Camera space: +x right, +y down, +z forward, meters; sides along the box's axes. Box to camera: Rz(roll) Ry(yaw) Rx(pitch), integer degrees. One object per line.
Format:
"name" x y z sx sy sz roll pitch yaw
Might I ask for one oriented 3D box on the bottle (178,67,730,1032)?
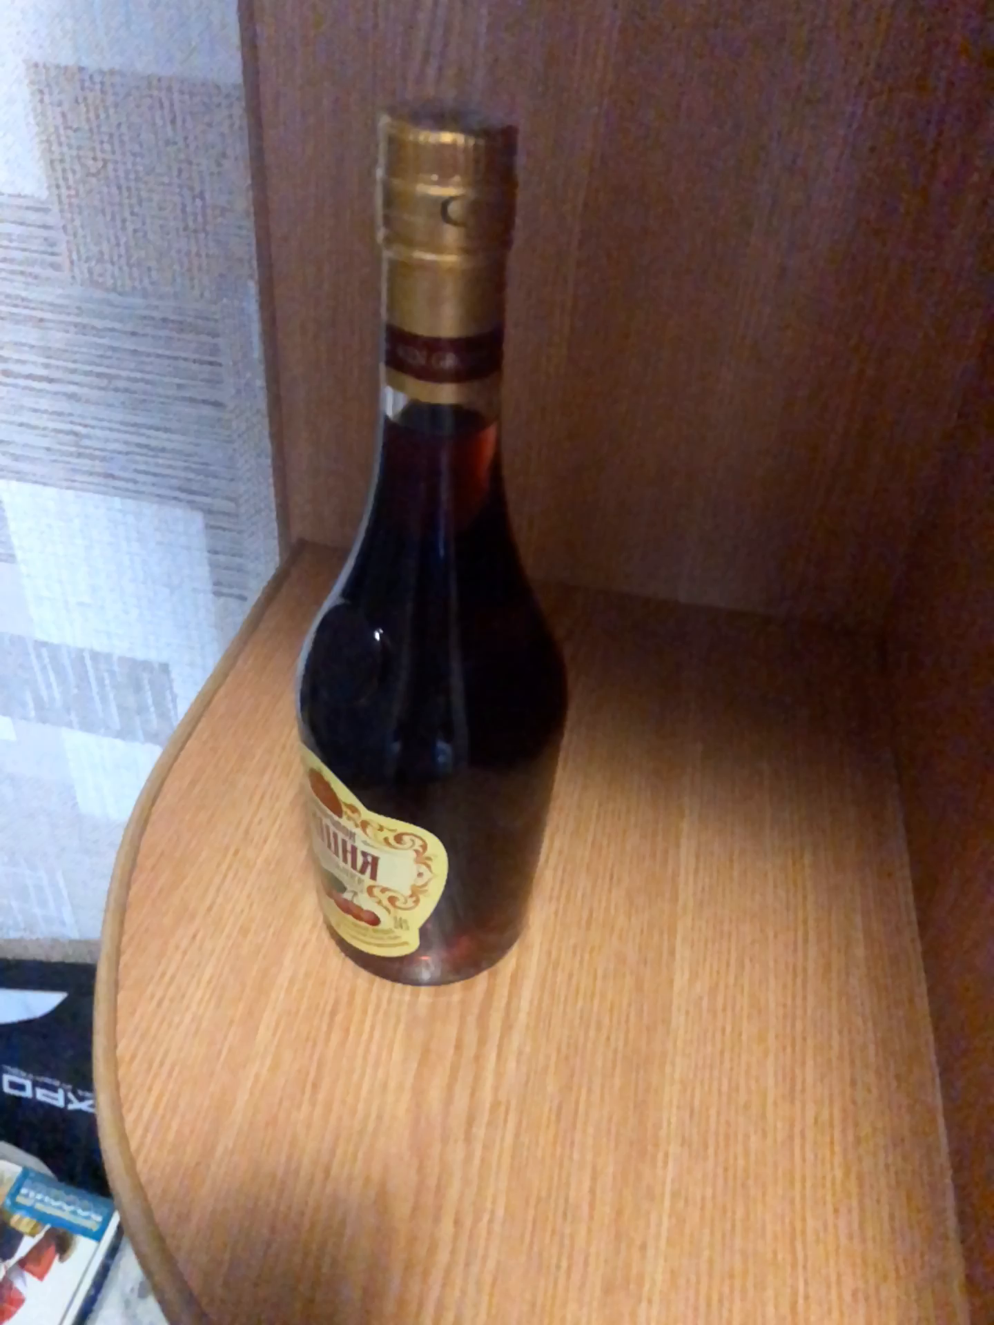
"bottle" -0.019 -0.020 0.309 0.080 0.244 0.090 -23 46 -31
